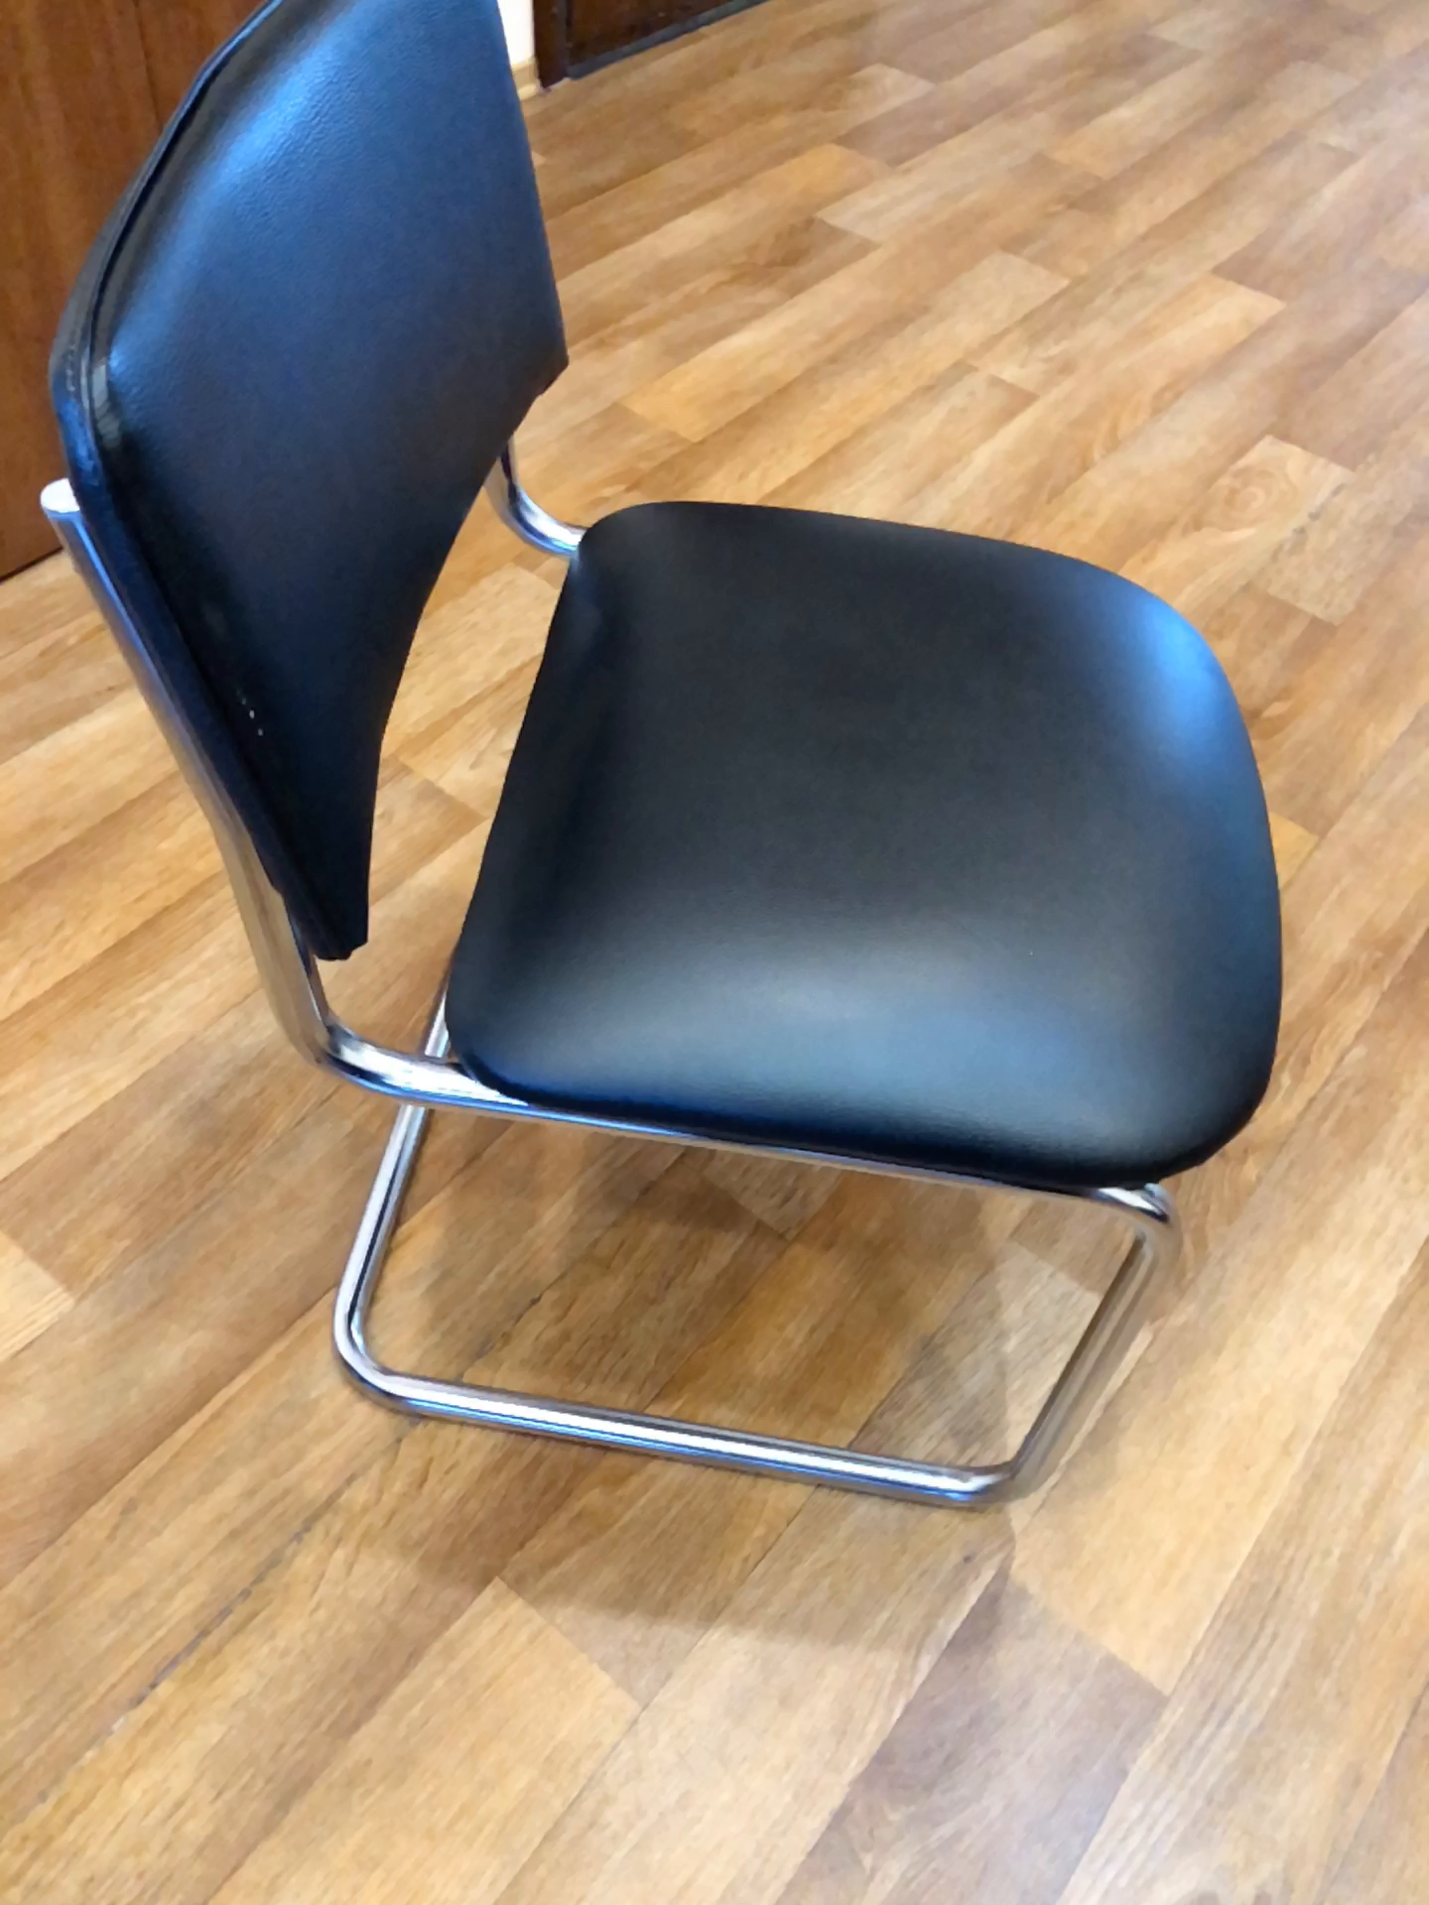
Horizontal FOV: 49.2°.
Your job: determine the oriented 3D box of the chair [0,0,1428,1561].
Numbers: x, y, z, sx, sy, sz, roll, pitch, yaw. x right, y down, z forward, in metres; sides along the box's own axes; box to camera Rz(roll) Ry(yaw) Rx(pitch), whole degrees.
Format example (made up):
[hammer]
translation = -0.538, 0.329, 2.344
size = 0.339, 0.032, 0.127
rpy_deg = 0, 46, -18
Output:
[chair]
translation = 0.030, -0.075, 0.879
size = 0.524, 0.745, 0.494
rpy_deg = 8, 50, 2
